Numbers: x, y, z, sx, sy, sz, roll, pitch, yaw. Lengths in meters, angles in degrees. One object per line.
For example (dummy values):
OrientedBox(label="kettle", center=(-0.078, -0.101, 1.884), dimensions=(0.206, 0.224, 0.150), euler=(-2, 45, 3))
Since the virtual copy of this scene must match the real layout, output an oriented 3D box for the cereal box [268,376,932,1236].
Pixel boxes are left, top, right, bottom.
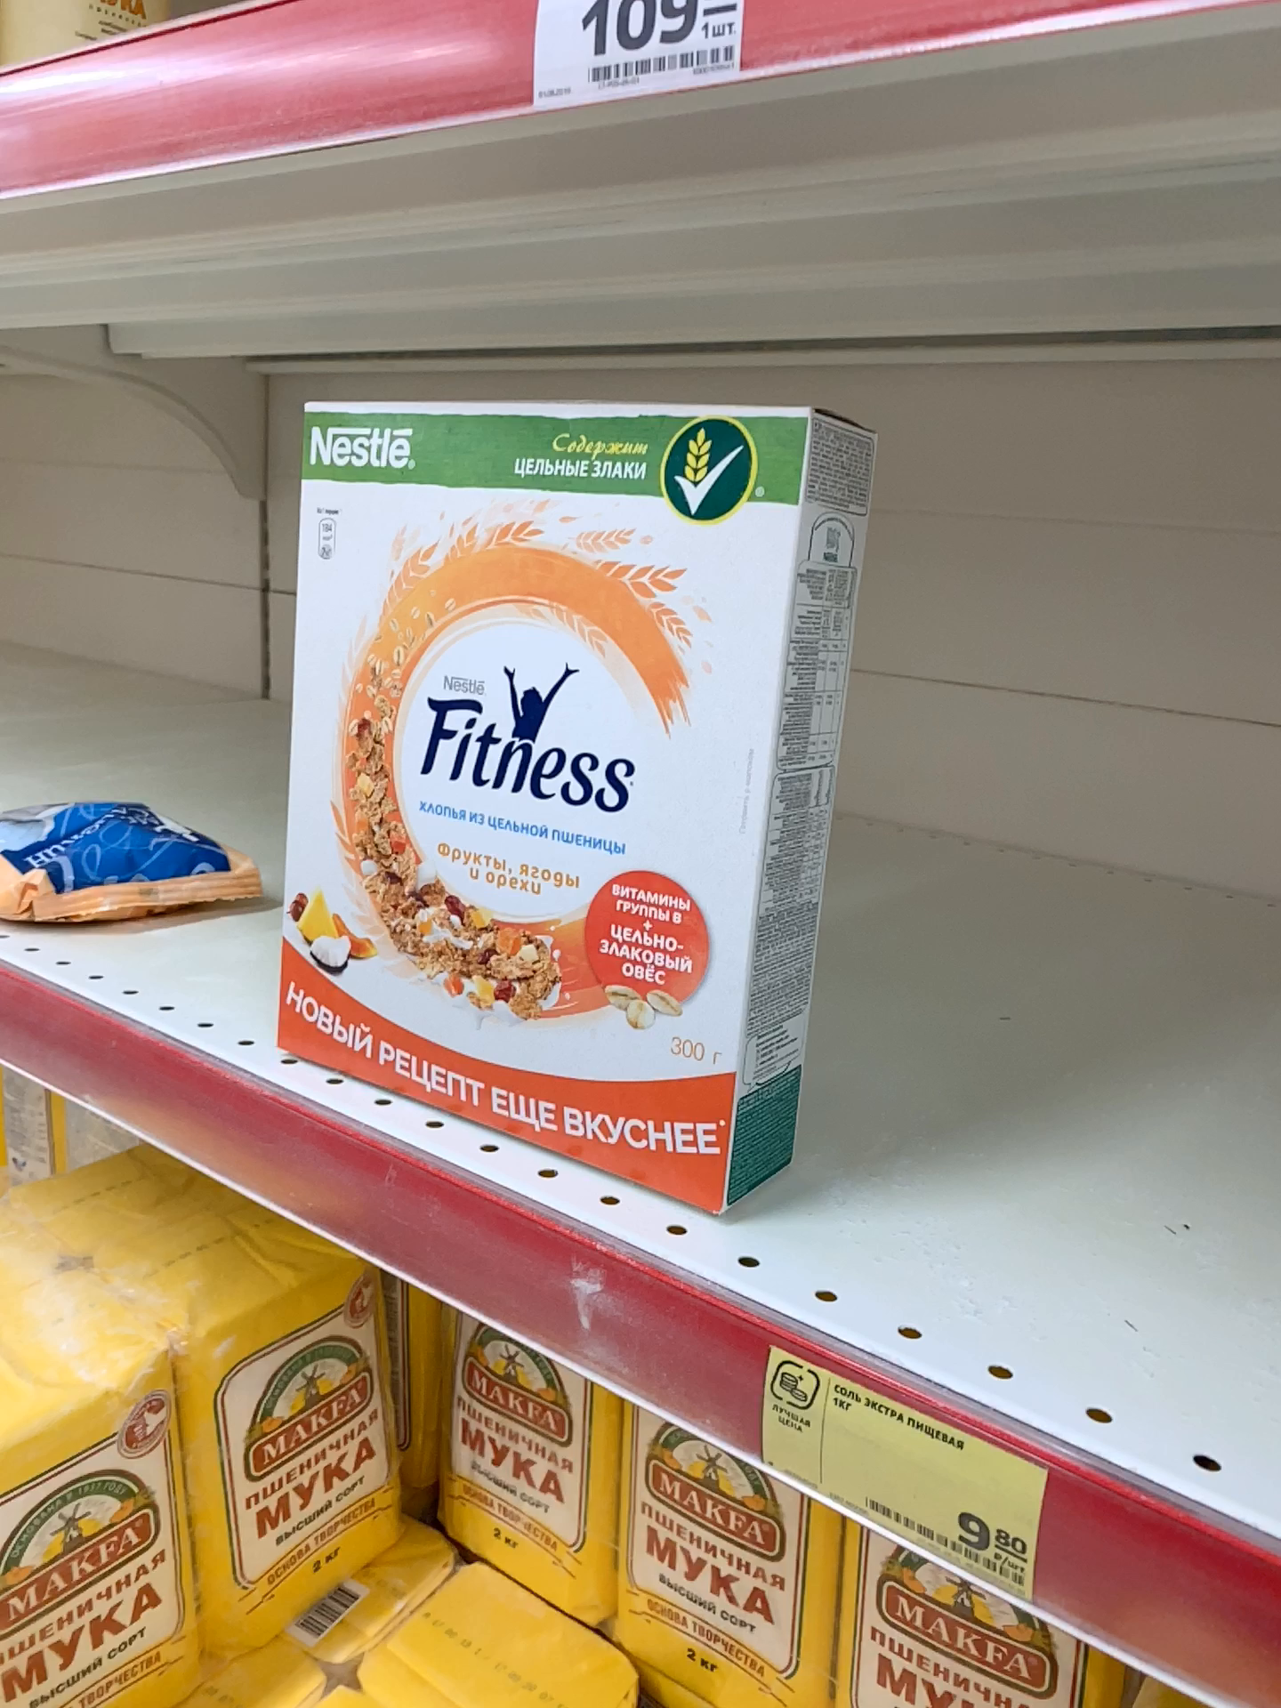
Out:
OrientedBox(label="cereal box", center=(-0.025, -0.029, 0.441), dimensions=(0.200, 0.239, 0.060), euler=(13, 11, 32))
